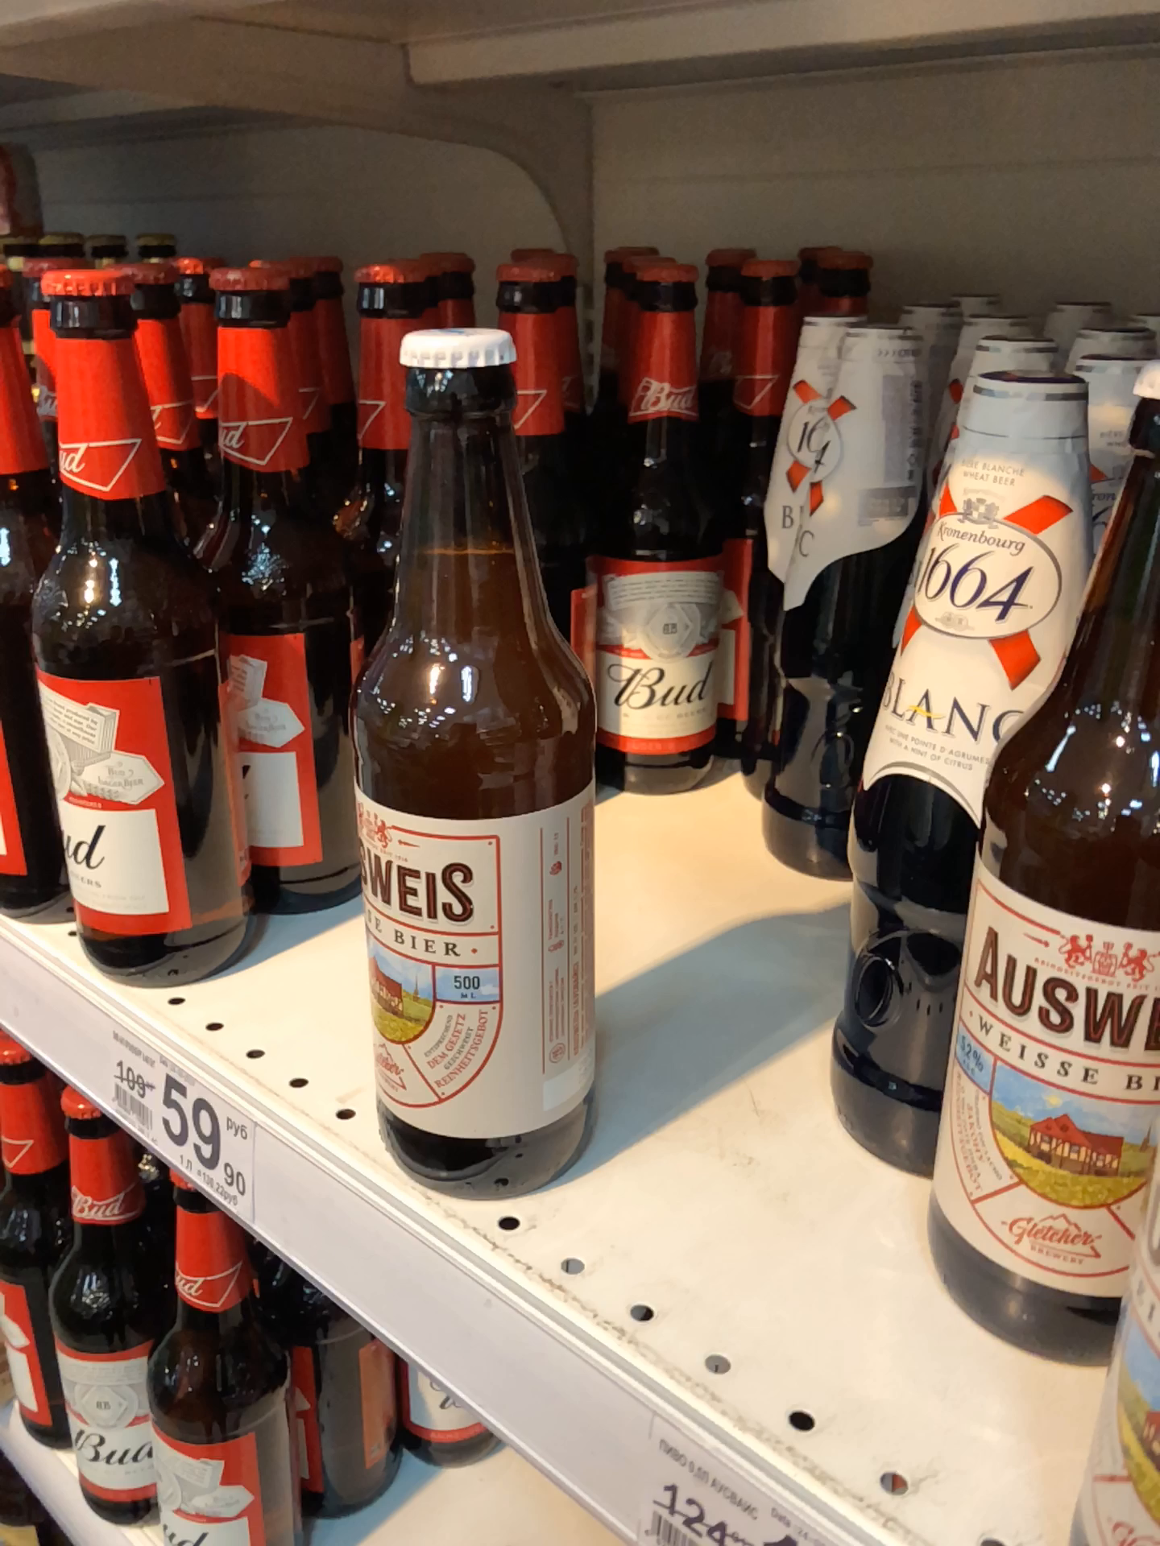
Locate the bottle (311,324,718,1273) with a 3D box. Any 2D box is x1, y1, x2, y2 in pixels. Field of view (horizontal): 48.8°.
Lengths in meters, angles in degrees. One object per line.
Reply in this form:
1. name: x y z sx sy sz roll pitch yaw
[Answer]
1. bottle: -0.018 0.006 0.366 0.070 0.249 0.080 -14 25 -32
